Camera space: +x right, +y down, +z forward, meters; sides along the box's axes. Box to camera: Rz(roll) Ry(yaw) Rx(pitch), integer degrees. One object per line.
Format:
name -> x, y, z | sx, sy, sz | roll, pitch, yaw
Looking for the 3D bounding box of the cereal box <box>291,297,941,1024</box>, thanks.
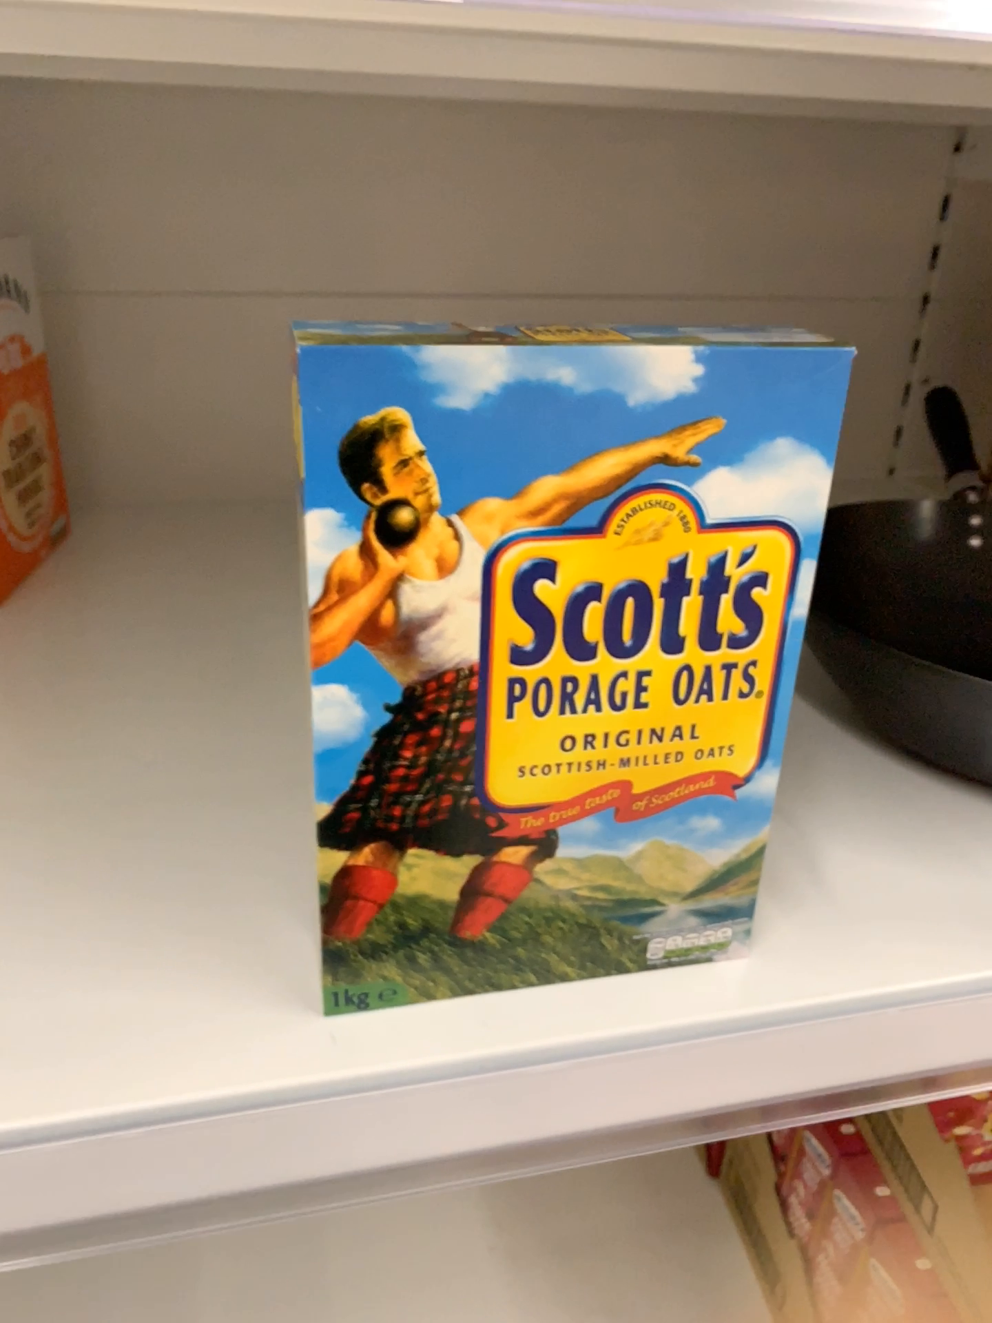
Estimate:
cereal box -> 0.033, 0.002, 0.410 | 0.210, 0.268, 0.071 | -4, 26, -13
